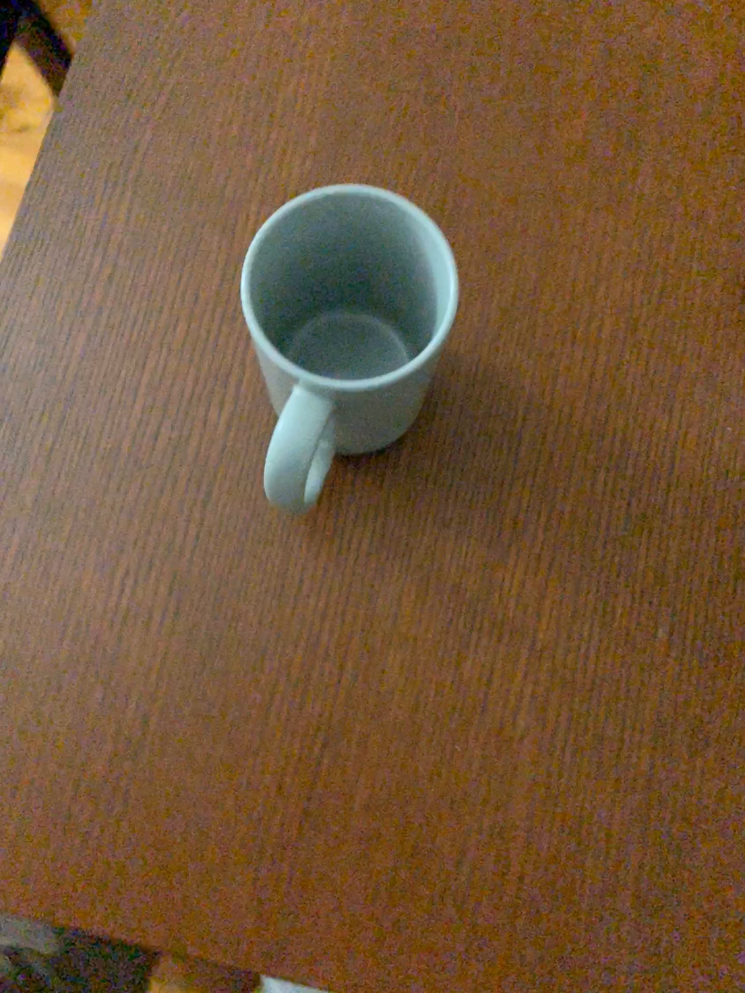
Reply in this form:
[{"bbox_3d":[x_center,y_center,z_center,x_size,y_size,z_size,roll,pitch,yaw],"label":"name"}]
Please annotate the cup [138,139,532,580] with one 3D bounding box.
[{"bbox_3d":[-0.014,-0.051,0.351,0.100,0.110,0.140,26,79,2],"label":"cup"}]
